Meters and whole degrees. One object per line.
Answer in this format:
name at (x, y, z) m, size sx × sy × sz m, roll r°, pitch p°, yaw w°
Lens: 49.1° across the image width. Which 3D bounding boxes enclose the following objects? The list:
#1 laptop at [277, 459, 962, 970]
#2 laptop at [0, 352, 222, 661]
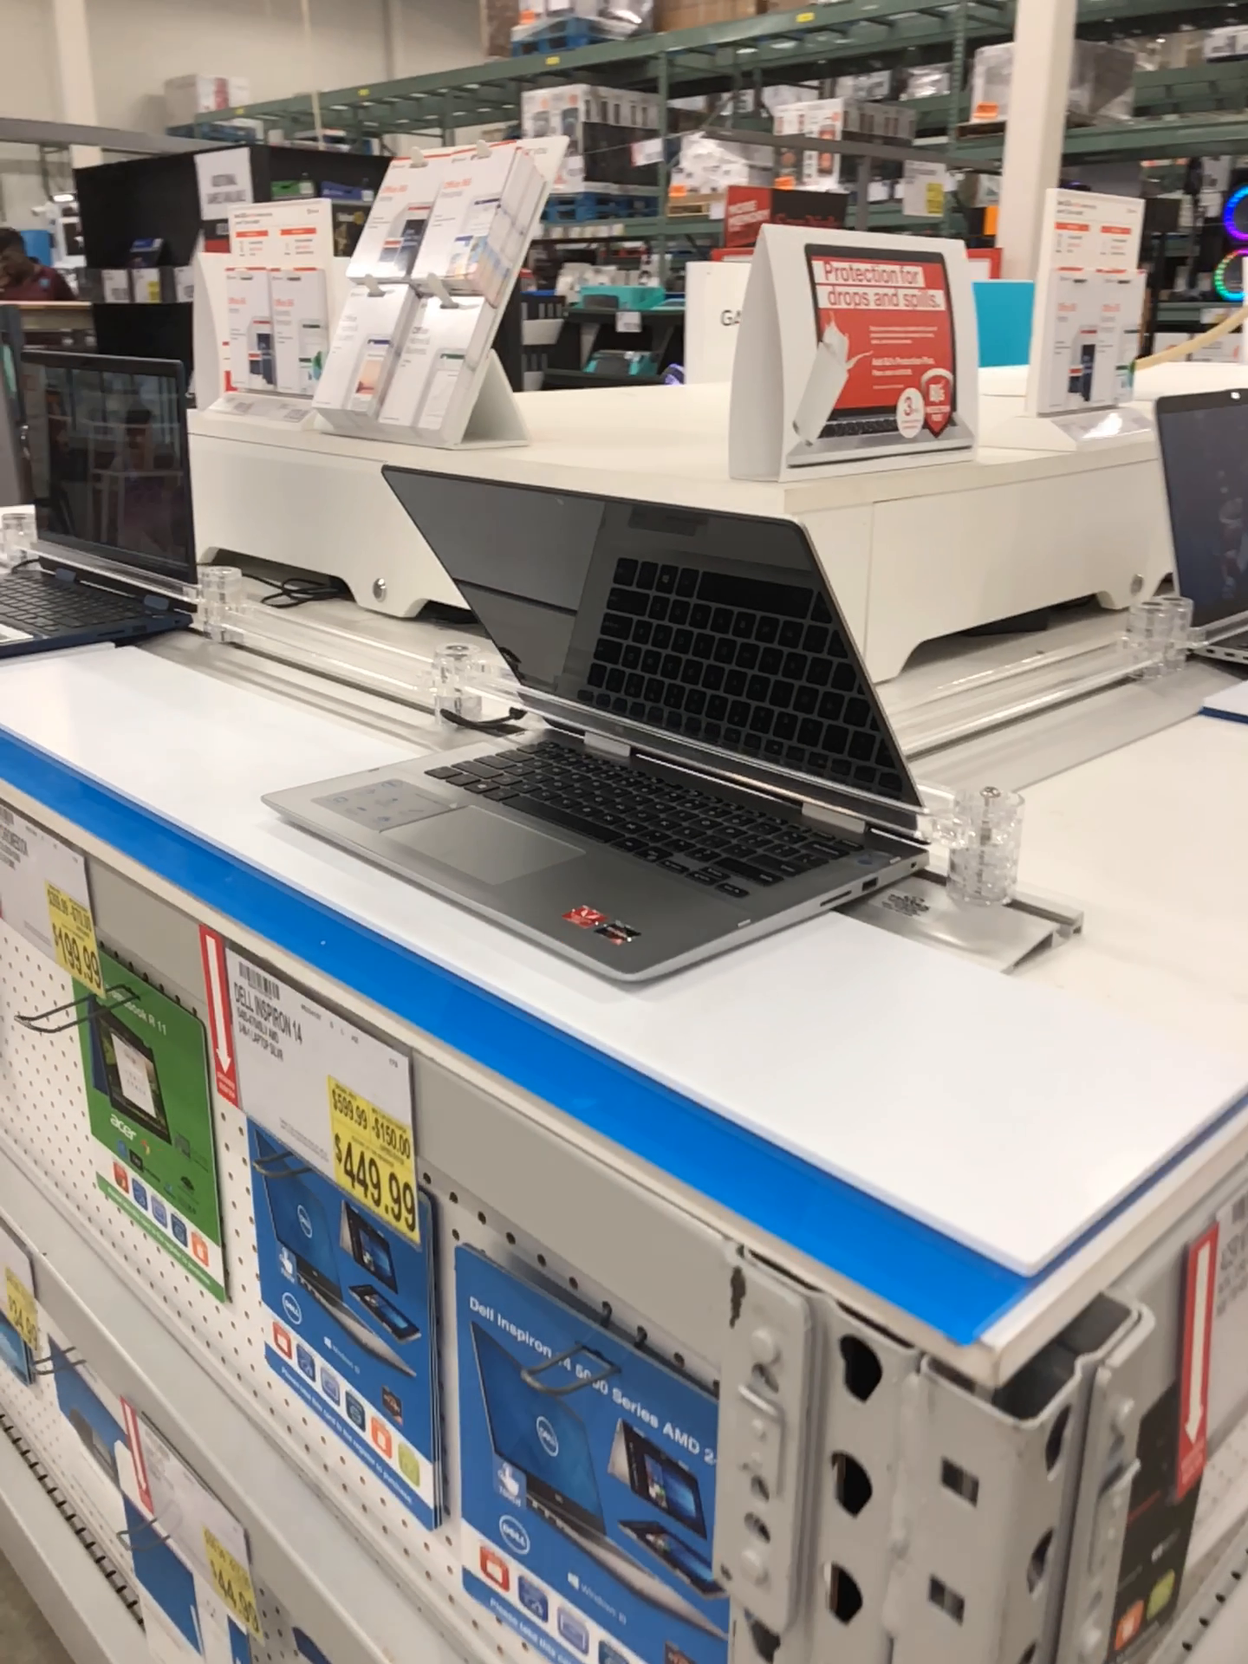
laptop at (-0.013, -0.091, 0.741) m, size 0.210 × 0.183 × 0.308 m, roll -17°, pitch 26°, yaw -39°
laptop at (-0.660, -0.359, 1.431) m, size 0.365 × 0.239 × 0.285 m, roll 19°, pitch 30°, yaw 40°
